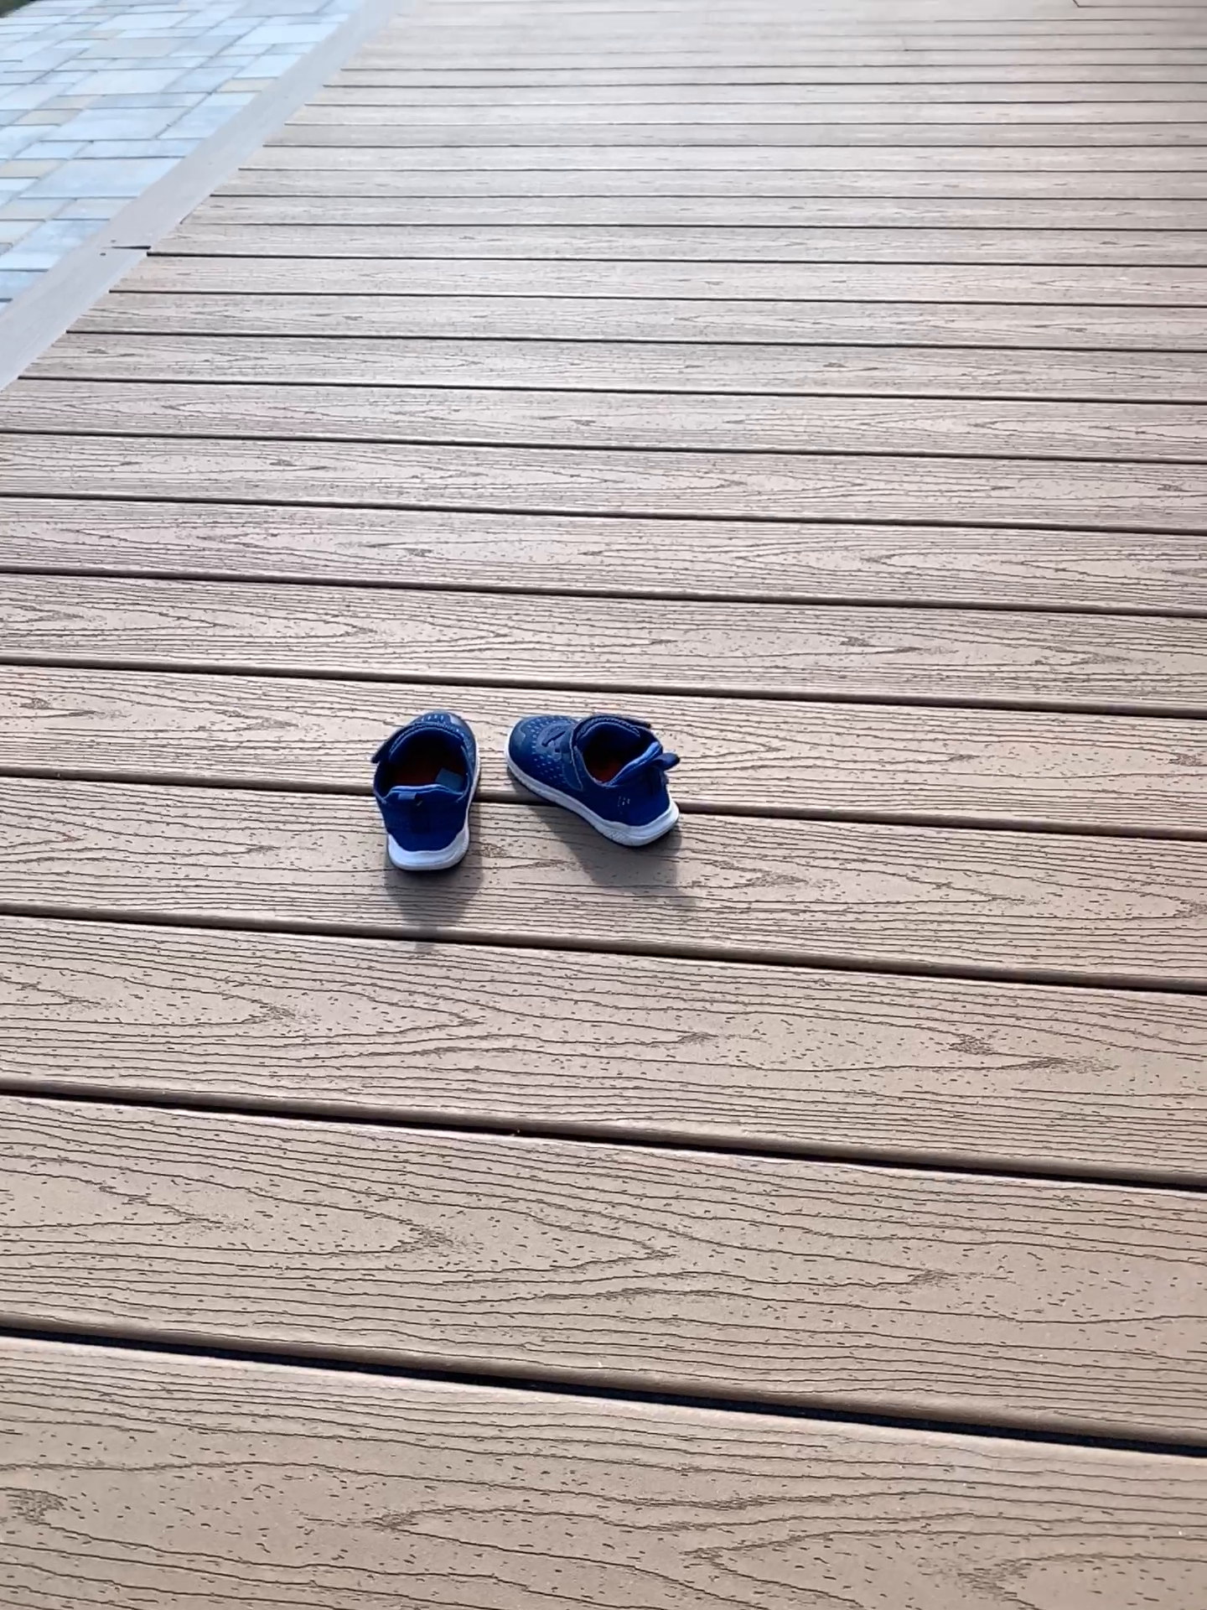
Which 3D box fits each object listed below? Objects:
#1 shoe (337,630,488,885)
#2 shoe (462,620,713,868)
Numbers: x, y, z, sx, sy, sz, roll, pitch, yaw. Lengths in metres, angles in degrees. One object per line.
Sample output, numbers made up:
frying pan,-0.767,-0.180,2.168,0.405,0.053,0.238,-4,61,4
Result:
shoe,-0.131,-0.037,0.884,0.080,0.090,0.171,-3,42,0
shoe,-0.012,-0.048,0.900,0.080,0.090,0.171,-35,51,-30
